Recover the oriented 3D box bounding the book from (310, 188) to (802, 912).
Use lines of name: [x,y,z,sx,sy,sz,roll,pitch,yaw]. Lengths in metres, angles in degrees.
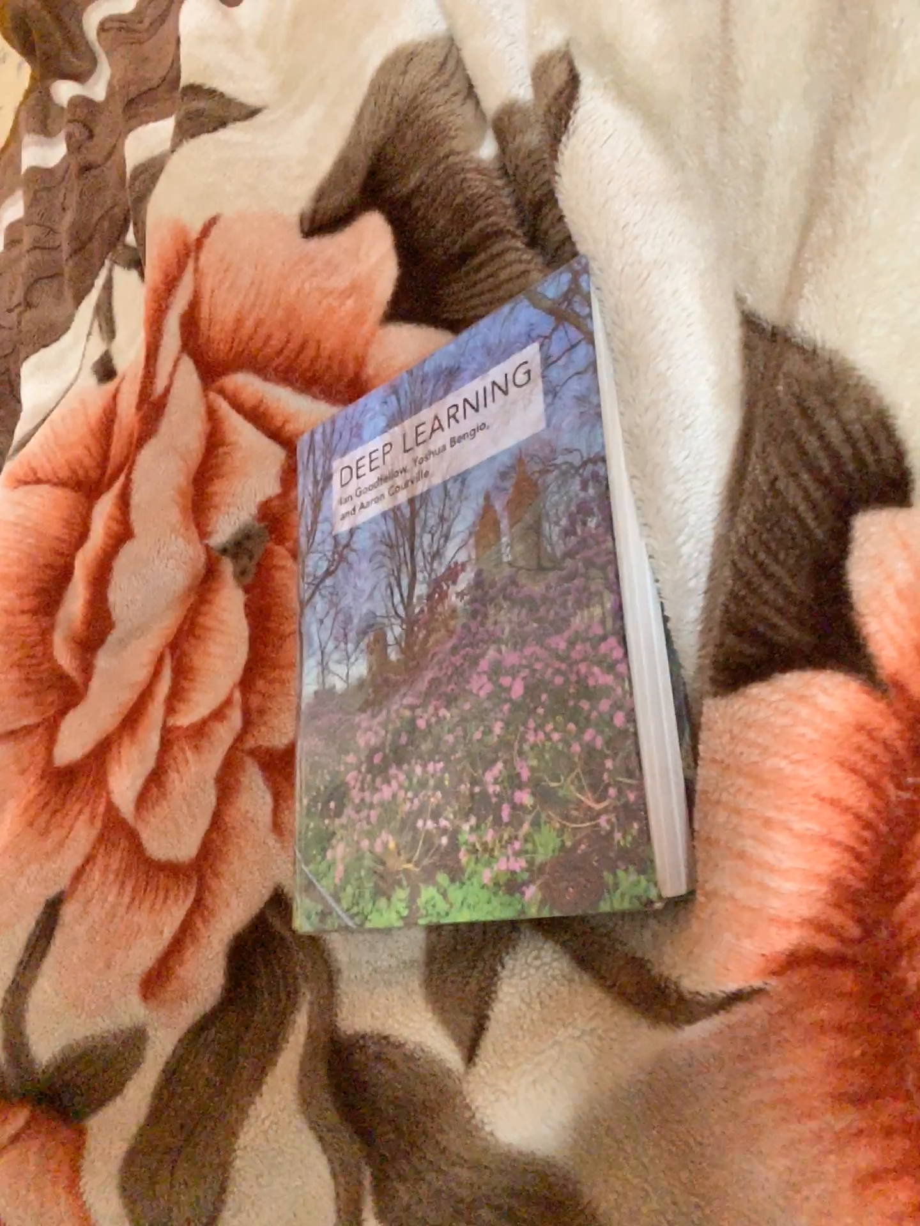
book: [0.017,-0.014,0.401,0.211,0.030,0.261,-19,64,39]
